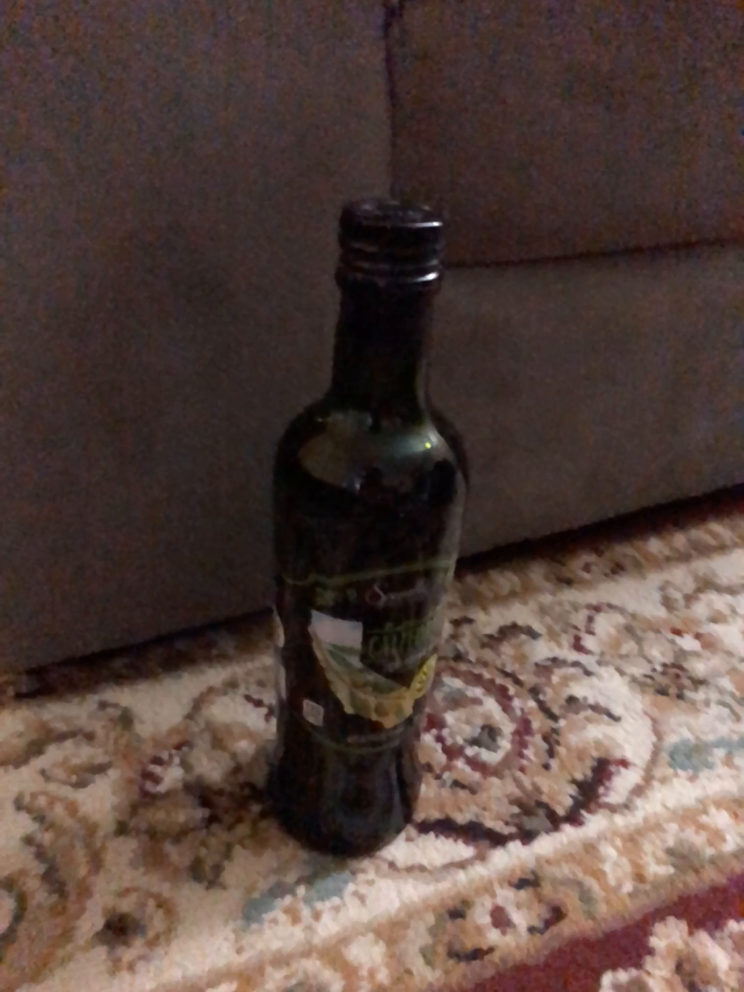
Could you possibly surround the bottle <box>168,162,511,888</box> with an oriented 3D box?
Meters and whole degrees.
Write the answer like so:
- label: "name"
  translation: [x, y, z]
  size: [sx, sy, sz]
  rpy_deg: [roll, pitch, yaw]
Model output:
- label: "bottle"
  translation: [-0.016, 0.021, 0.308]
  size: [0.080, 0.259, 0.070]
  rpy_deg: [-12, 33, -22]
